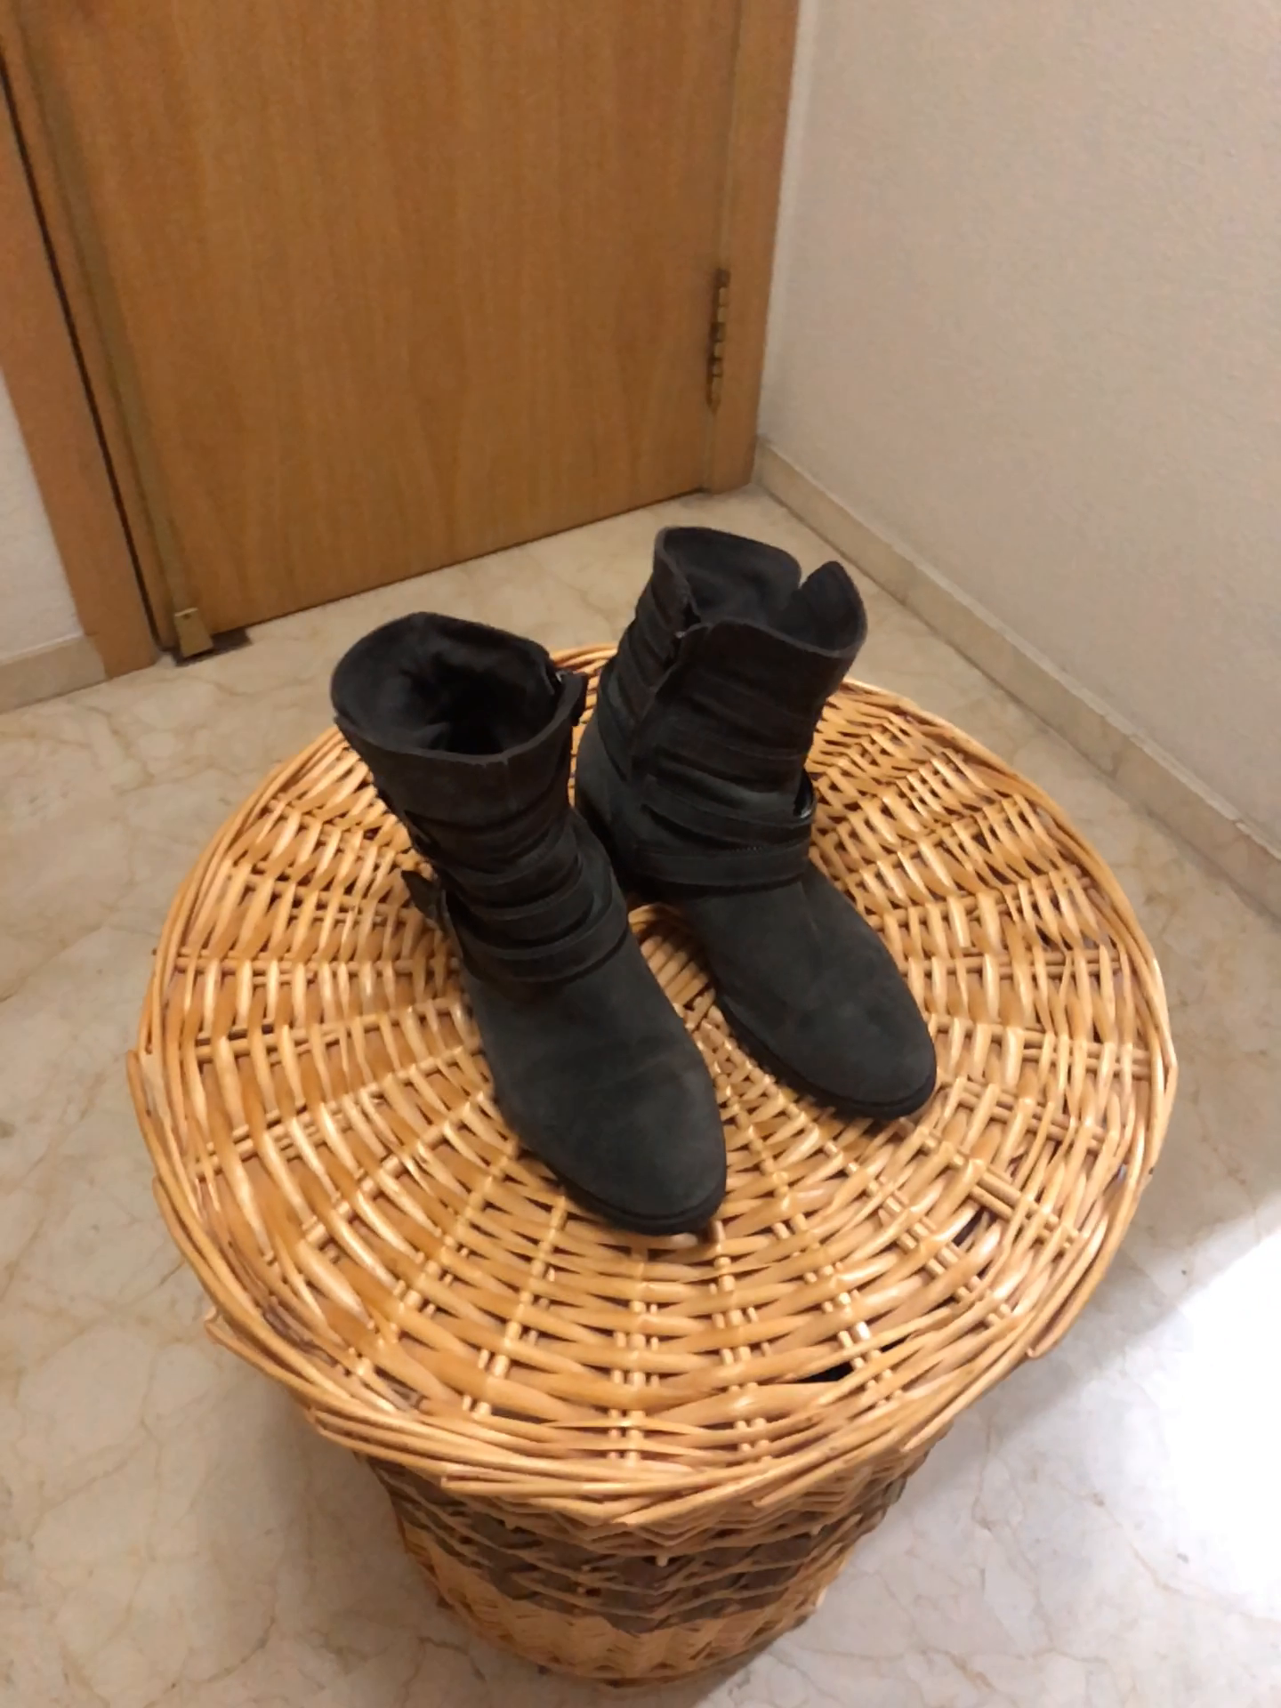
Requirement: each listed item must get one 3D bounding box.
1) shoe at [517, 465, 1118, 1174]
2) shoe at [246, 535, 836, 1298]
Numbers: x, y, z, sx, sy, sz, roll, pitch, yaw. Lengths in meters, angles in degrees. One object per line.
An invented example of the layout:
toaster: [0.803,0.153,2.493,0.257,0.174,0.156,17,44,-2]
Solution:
shoe: [0.057,-0.024,0.635,0.110,0.169,0.261,-23,51,-23]
shoe: [-0.044,0.019,0.597,0.110,0.169,0.261,-28,53,-17]
